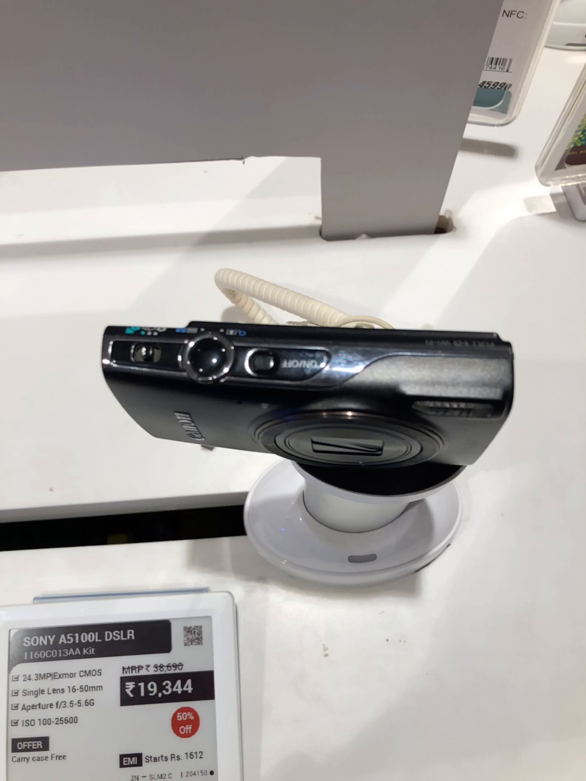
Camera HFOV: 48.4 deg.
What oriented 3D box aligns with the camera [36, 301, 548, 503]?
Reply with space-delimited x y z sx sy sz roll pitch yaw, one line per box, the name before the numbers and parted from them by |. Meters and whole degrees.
camera | 0.000 0.006 0.173 0.110 0.060 0.030 2 68 2
